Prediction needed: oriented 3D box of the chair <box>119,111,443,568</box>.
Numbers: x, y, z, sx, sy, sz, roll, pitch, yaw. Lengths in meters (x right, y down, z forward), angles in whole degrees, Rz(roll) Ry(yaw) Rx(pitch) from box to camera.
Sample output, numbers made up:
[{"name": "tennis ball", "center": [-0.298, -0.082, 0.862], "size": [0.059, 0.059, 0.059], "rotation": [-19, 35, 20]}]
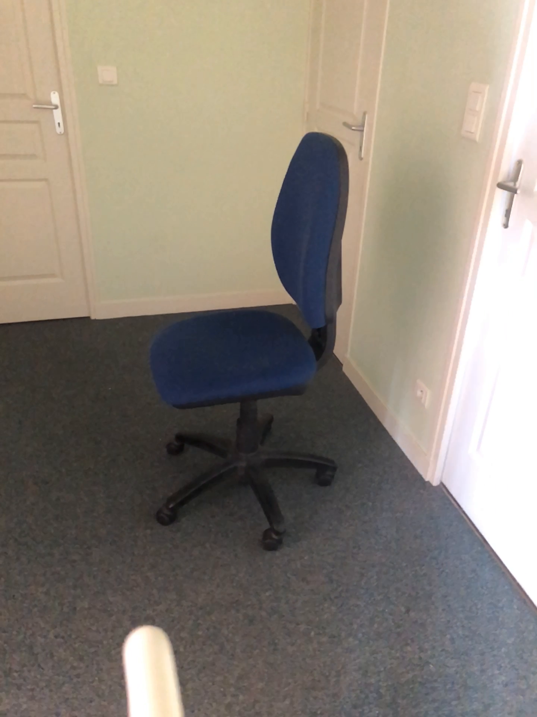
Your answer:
[{"name": "chair", "center": [-0.050, -0.097, 1.764], "size": [0.671, 1.113, 0.703], "rotation": [-5, 29, -14]}]
